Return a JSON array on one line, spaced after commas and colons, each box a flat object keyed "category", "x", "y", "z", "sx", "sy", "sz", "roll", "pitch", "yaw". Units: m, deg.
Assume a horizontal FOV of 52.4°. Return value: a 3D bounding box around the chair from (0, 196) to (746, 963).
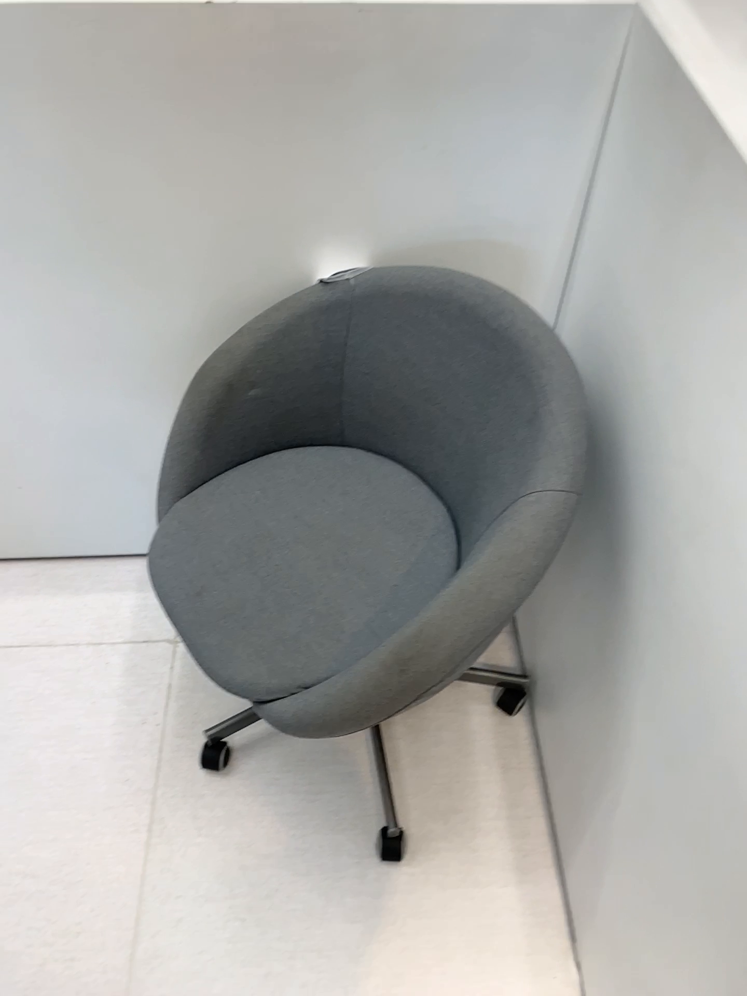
[{"category": "chair", "x": -0.040, "y": 0.141, "z": 1.279, "sx": 0.711, "sy": 0.827, "sz": 0.732, "roll": -26, "pitch": 56, "yaw": -20}]
